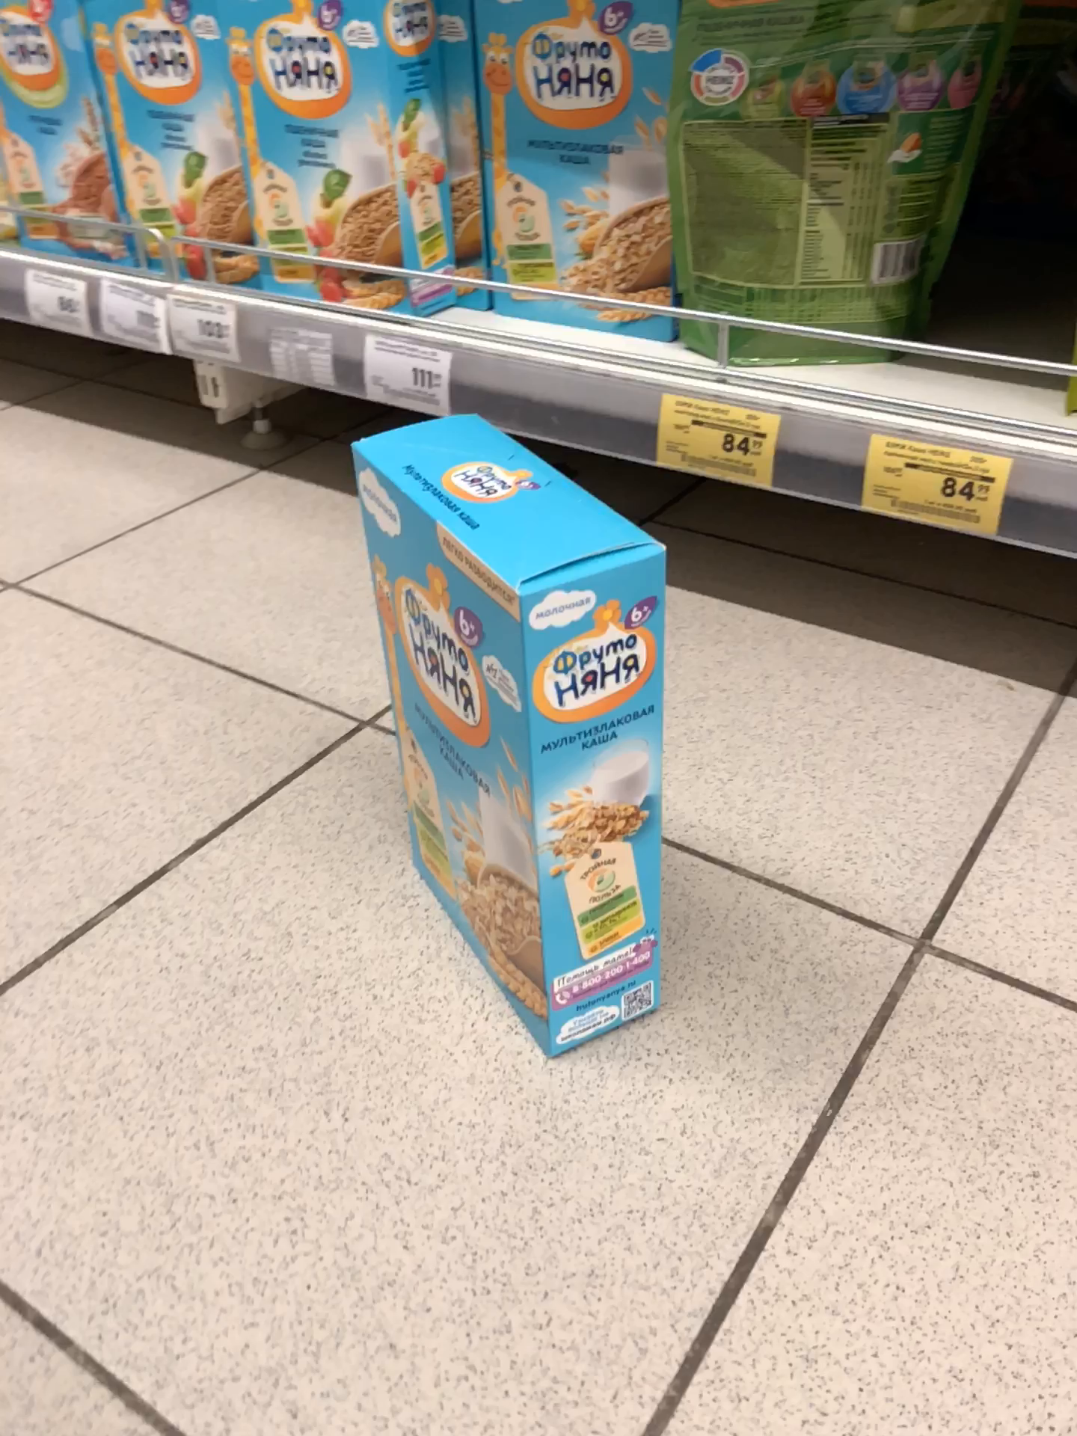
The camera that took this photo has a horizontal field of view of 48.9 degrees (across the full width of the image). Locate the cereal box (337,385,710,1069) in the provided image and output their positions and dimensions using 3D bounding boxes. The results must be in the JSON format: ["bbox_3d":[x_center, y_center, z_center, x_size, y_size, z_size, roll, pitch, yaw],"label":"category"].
[{"bbox_3d":[-0.006,0.001,0.433,0.060,0.199,0.141,-20,38,-21],"label":"cereal box"}]
